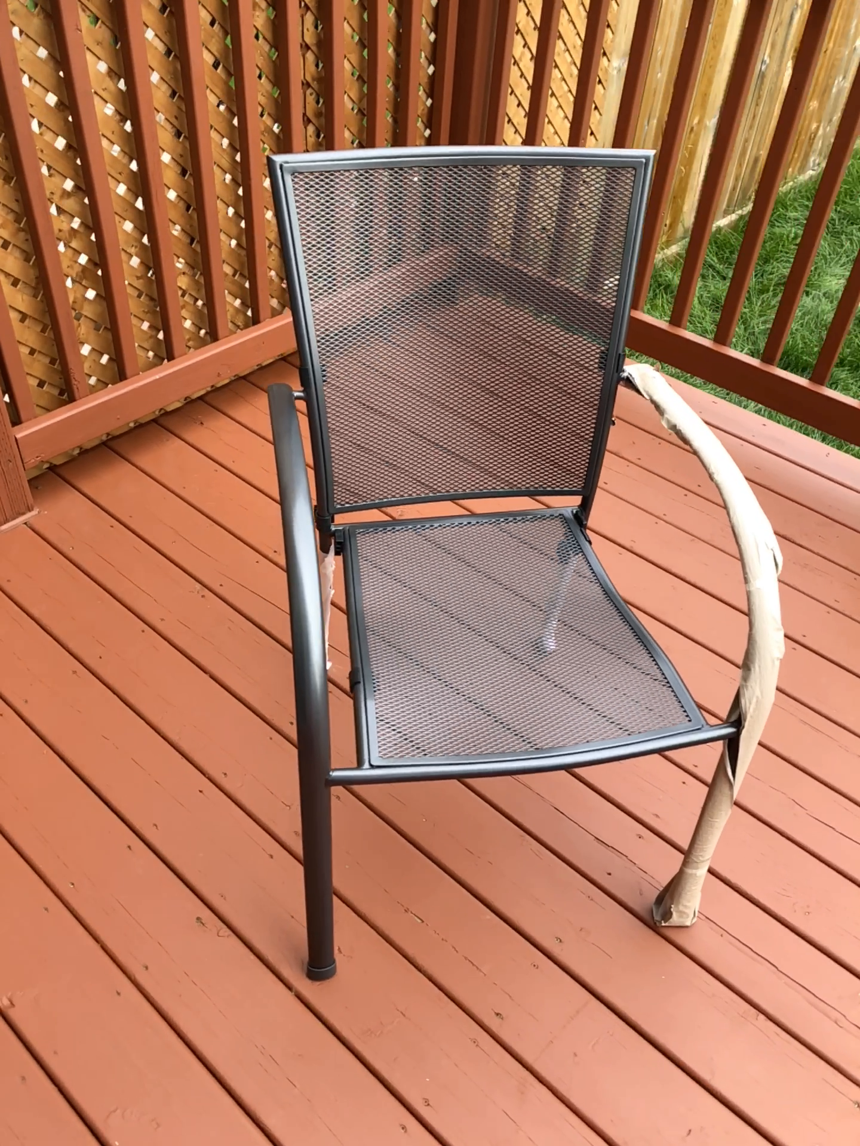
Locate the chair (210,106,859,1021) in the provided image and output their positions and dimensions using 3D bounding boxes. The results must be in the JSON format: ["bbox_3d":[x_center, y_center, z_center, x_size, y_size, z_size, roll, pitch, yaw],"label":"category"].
[{"bbox_3d":[0.078,0.000,1.211,0.600,0.926,0.652,-5,43,-10],"label":"chair"}]
